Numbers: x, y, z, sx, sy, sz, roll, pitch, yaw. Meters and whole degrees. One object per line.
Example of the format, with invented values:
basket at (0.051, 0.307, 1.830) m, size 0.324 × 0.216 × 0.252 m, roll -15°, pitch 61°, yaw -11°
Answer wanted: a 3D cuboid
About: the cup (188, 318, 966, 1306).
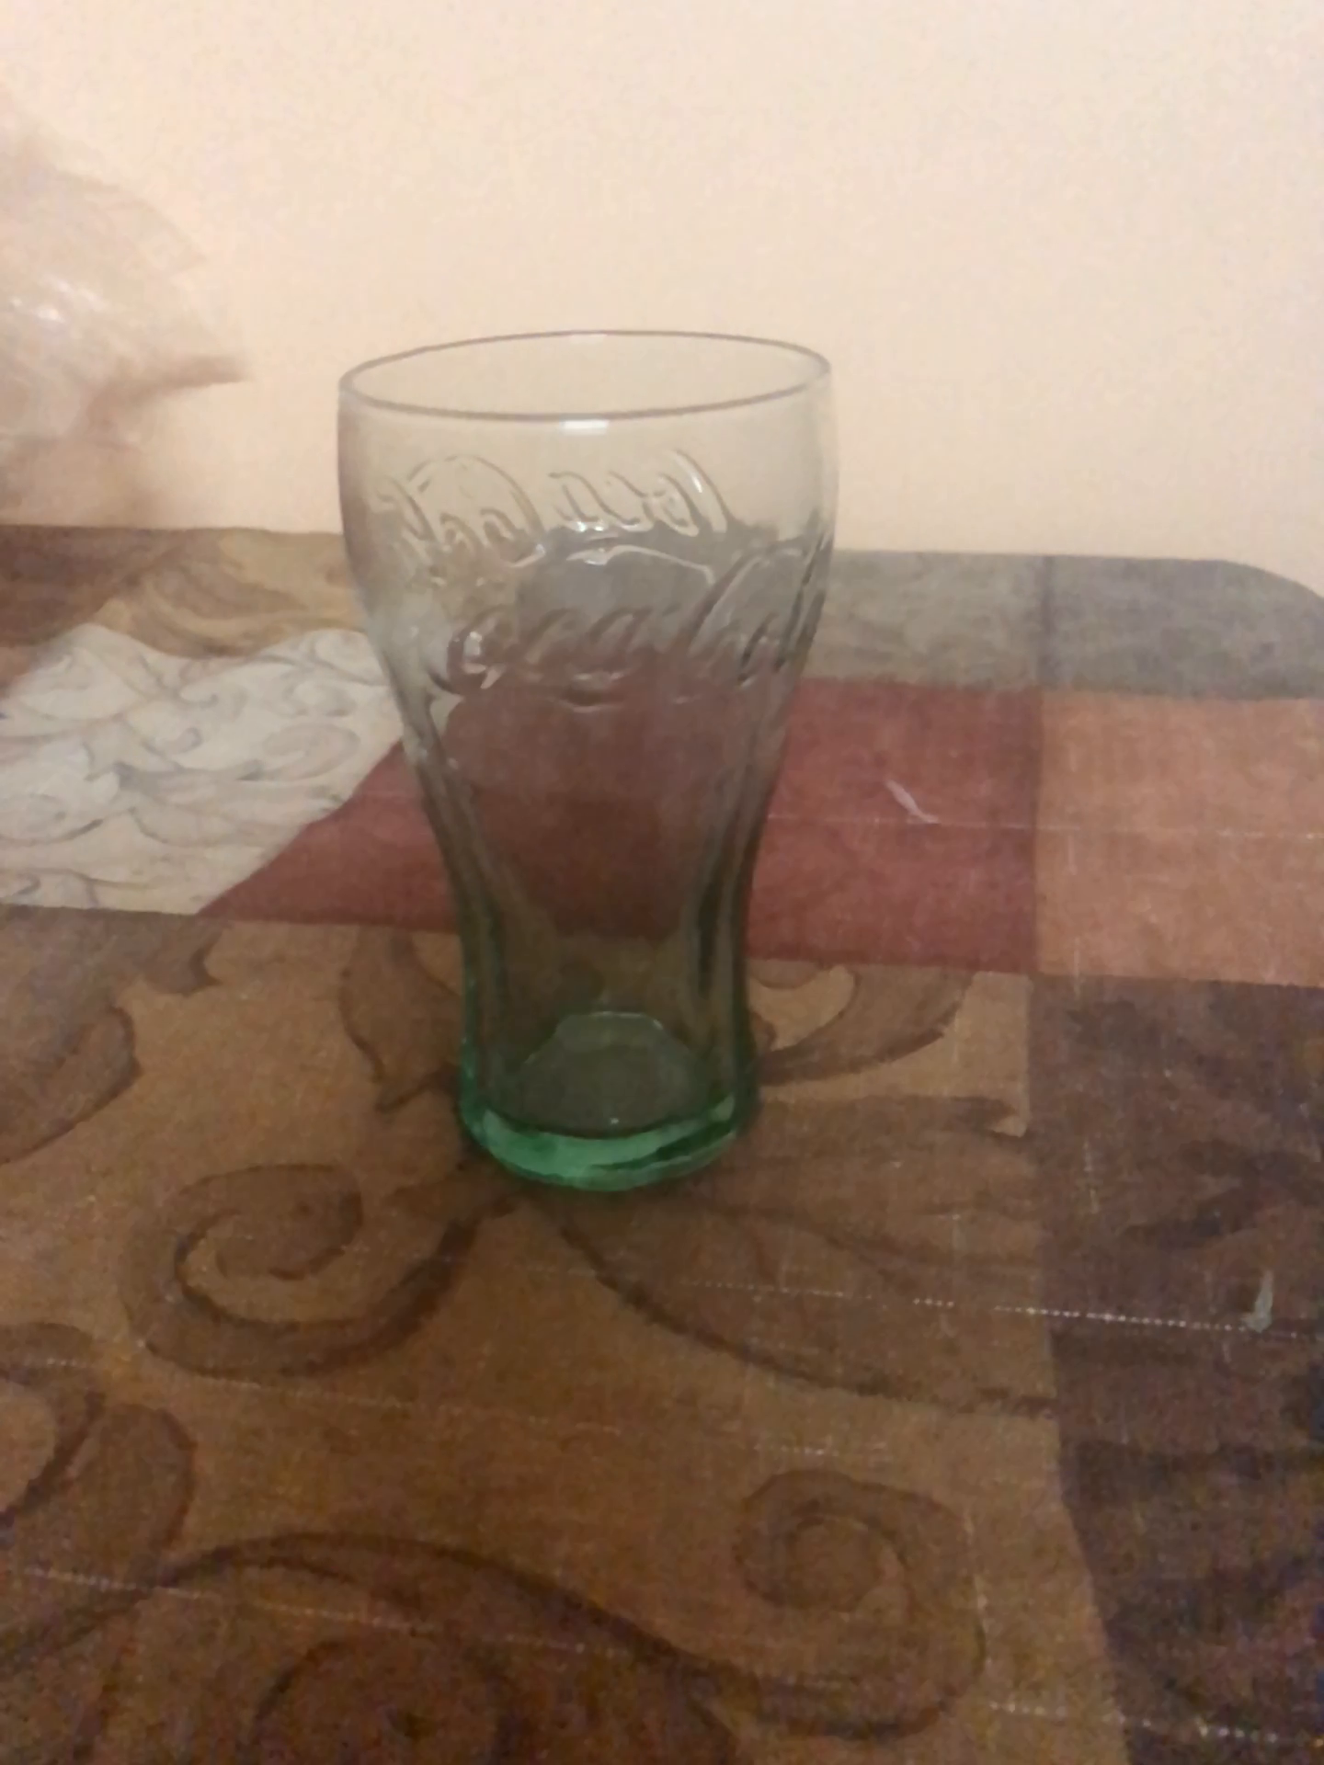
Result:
cup at (-0.012, -0.016, 0.212) m, size 0.070 × 0.110 × 0.070 m, roll 0°, pitch 27°, yaw 0°
